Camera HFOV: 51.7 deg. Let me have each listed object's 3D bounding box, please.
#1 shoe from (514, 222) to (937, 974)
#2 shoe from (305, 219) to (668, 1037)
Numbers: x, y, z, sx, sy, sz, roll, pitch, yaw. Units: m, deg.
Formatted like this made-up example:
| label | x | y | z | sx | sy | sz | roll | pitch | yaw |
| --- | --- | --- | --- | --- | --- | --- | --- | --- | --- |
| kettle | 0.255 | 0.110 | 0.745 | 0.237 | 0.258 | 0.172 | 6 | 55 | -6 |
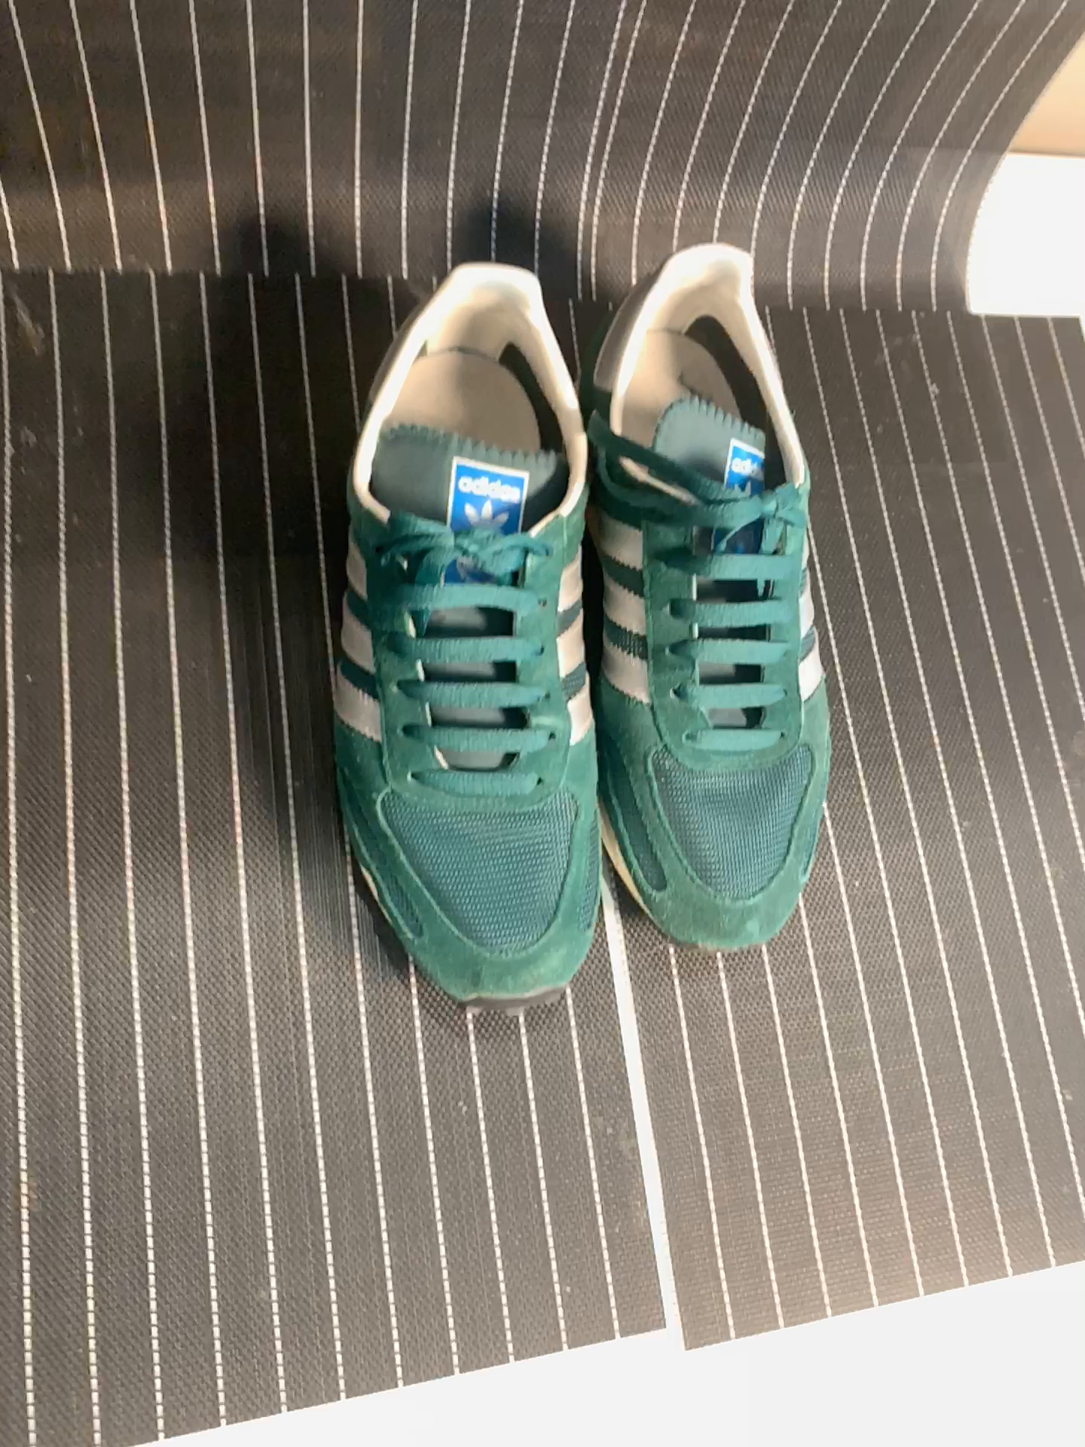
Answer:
| label | x | y | z | sx | sy | sz | roll | pitch | yaw |
| --- | --- | --- | --- | --- | --- | --- | --- | --- | --- |
| shoe | 0.062 | -0.046 | 0.468 | 0.100 | 0.120 | 0.280 | -3 | 76 | -14 |
| shoe | -0.032 | -0.035 | 0.429 | 0.100 | 0.090 | 0.290 | -3 | 76 | -14 |
